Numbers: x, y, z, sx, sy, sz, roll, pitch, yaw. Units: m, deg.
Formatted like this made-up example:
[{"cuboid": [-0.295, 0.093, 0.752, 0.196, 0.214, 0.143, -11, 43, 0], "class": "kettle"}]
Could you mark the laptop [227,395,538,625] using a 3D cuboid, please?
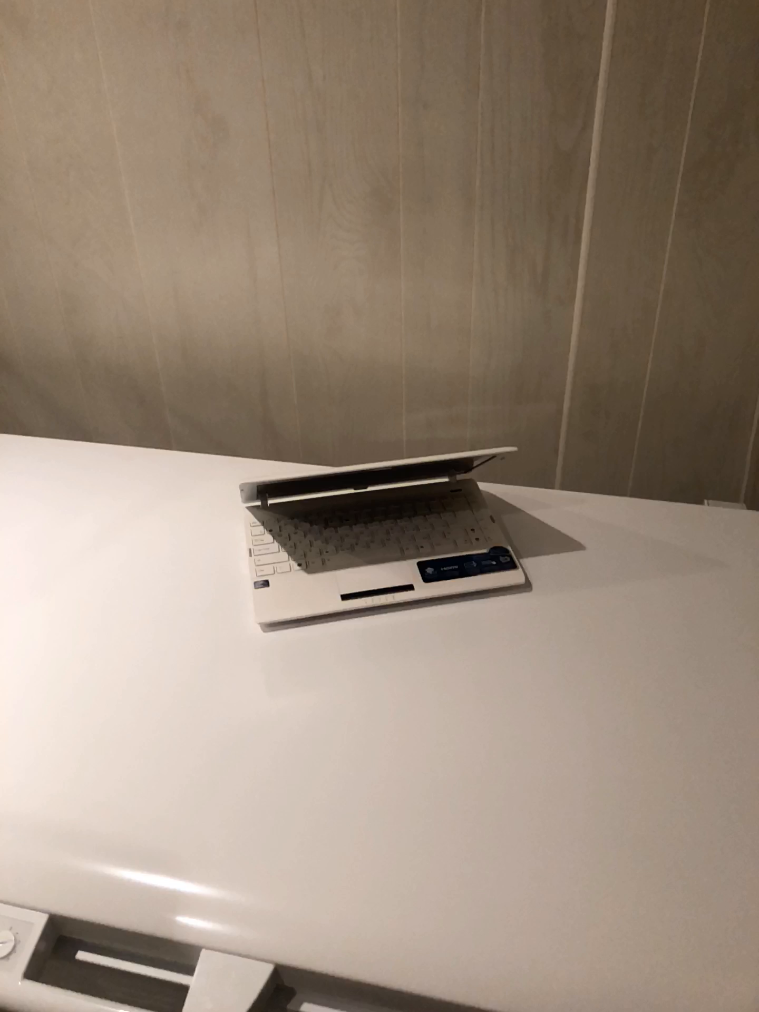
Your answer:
[{"cuboid": [-0.005, -0.005, 0.935, 0.298, 0.115, 0.199, -8, 38, -9], "class": "laptop"}]
